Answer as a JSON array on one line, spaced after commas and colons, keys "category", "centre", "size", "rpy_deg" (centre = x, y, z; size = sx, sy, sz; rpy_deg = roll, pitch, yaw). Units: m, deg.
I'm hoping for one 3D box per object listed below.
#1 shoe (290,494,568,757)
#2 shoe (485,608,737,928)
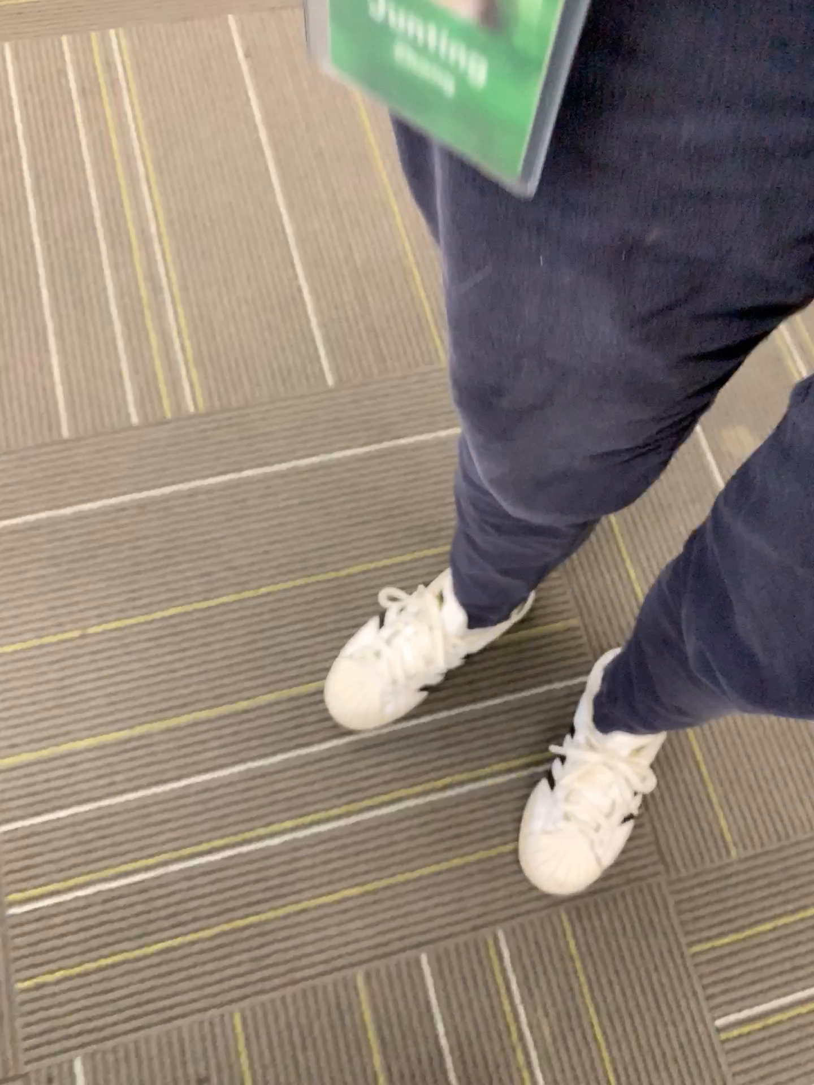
[{"category": "shoe", "centre": [0.021, 0.084, 0.852], "size": [0.258, 0.104, 0.105], "rpy_deg": [-37, 76, -16]}, {"category": "shoe", "centre": [0.193, 0.211, 0.809], "size": [0.108, 0.104, 0.263], "rpy_deg": [31, 70, 7]}]
